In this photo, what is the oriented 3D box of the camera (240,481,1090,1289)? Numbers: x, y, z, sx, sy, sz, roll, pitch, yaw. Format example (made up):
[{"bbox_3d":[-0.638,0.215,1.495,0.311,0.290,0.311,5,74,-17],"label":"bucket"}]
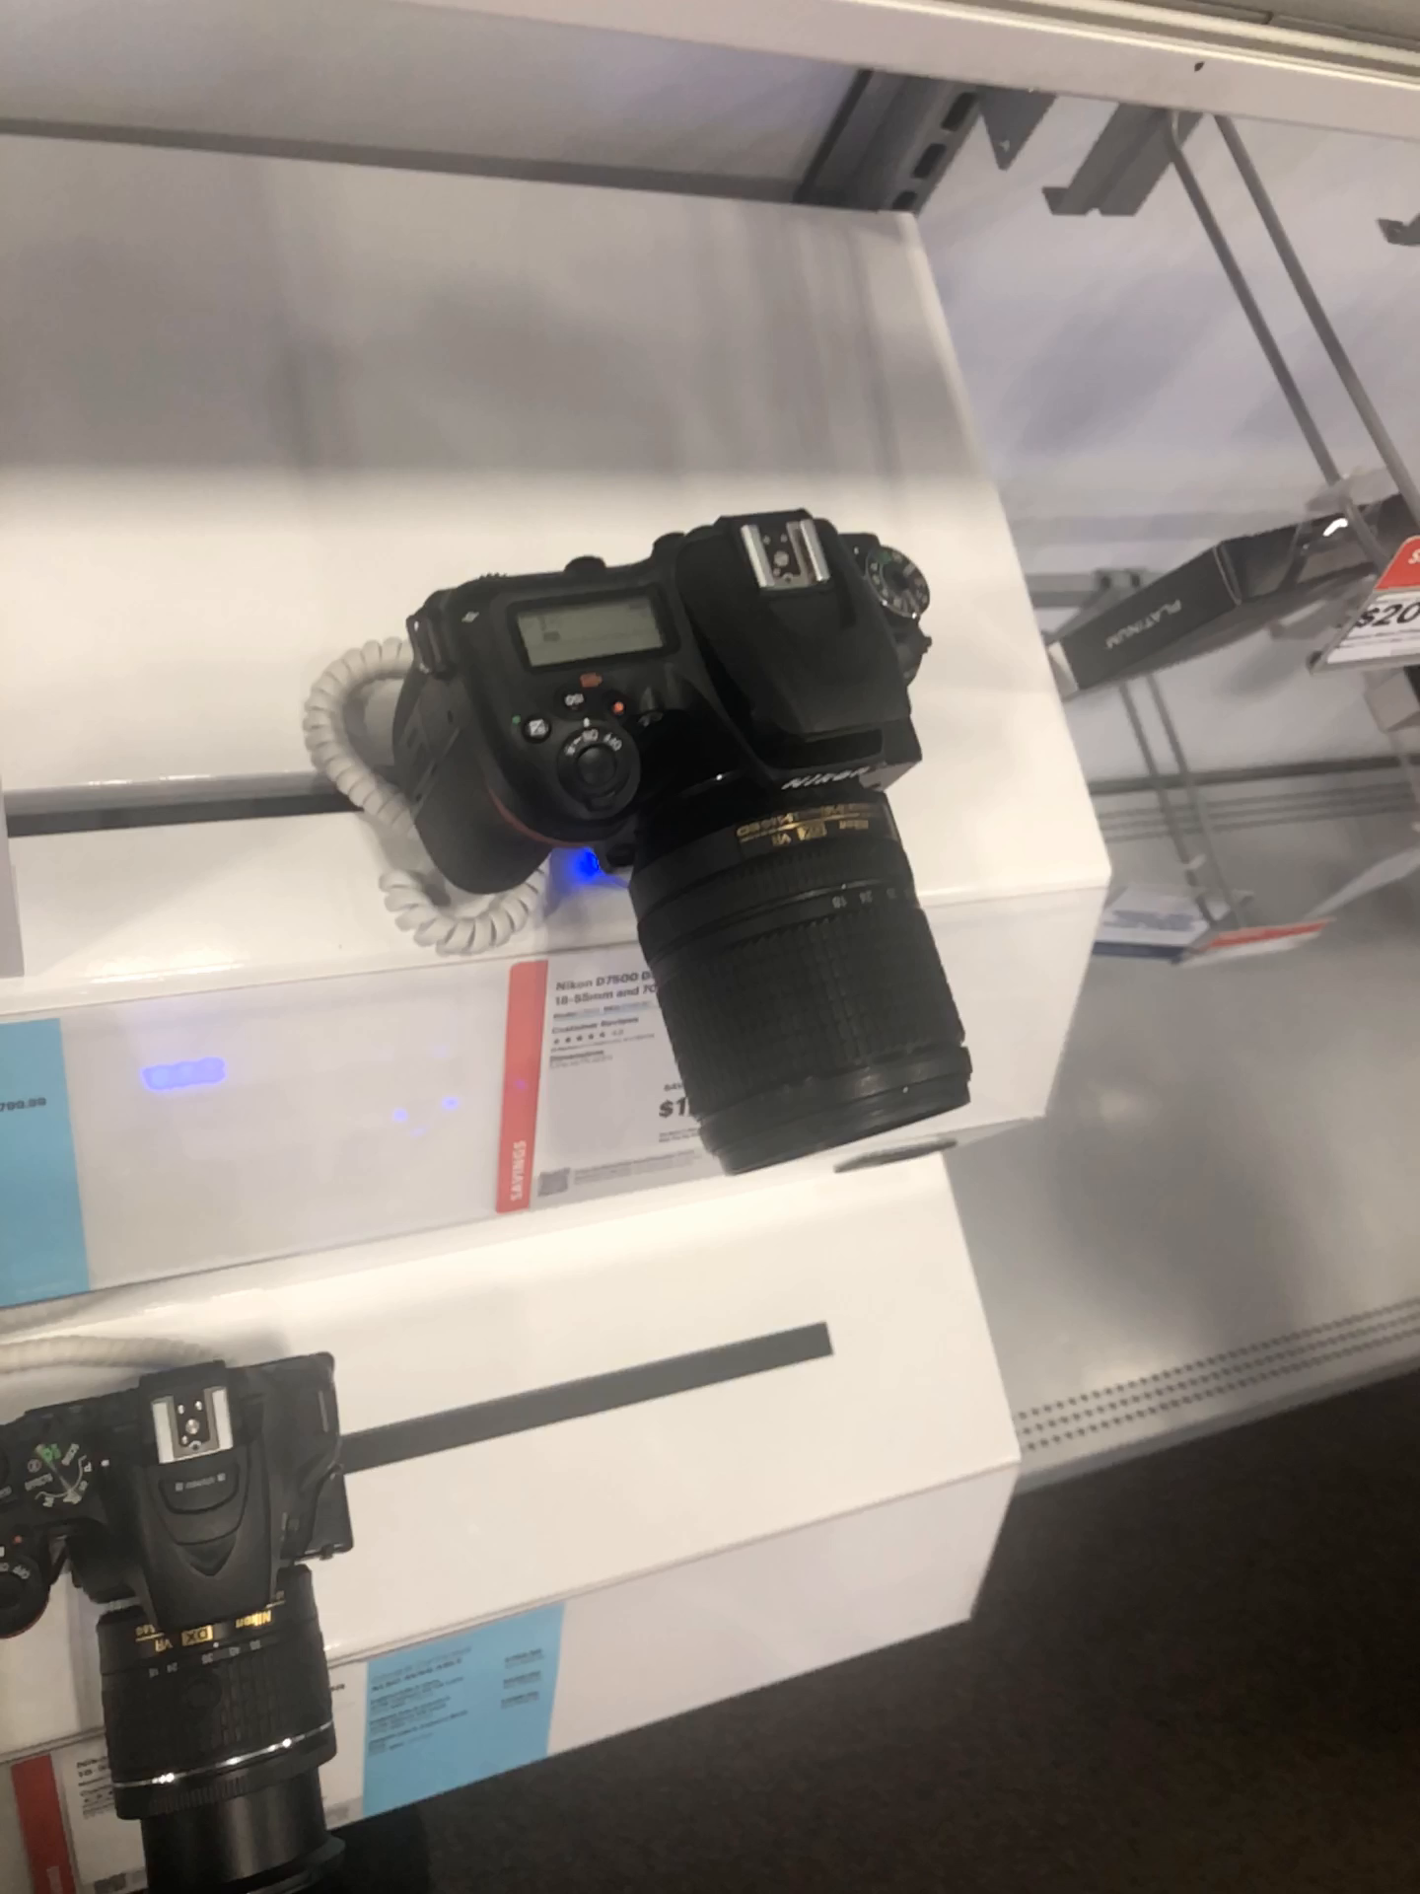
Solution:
[{"bbox_3d":[-0.021,-0.017,0.417,0.161,0.110,0.160,-12,76,-24],"label":"camera"}]
